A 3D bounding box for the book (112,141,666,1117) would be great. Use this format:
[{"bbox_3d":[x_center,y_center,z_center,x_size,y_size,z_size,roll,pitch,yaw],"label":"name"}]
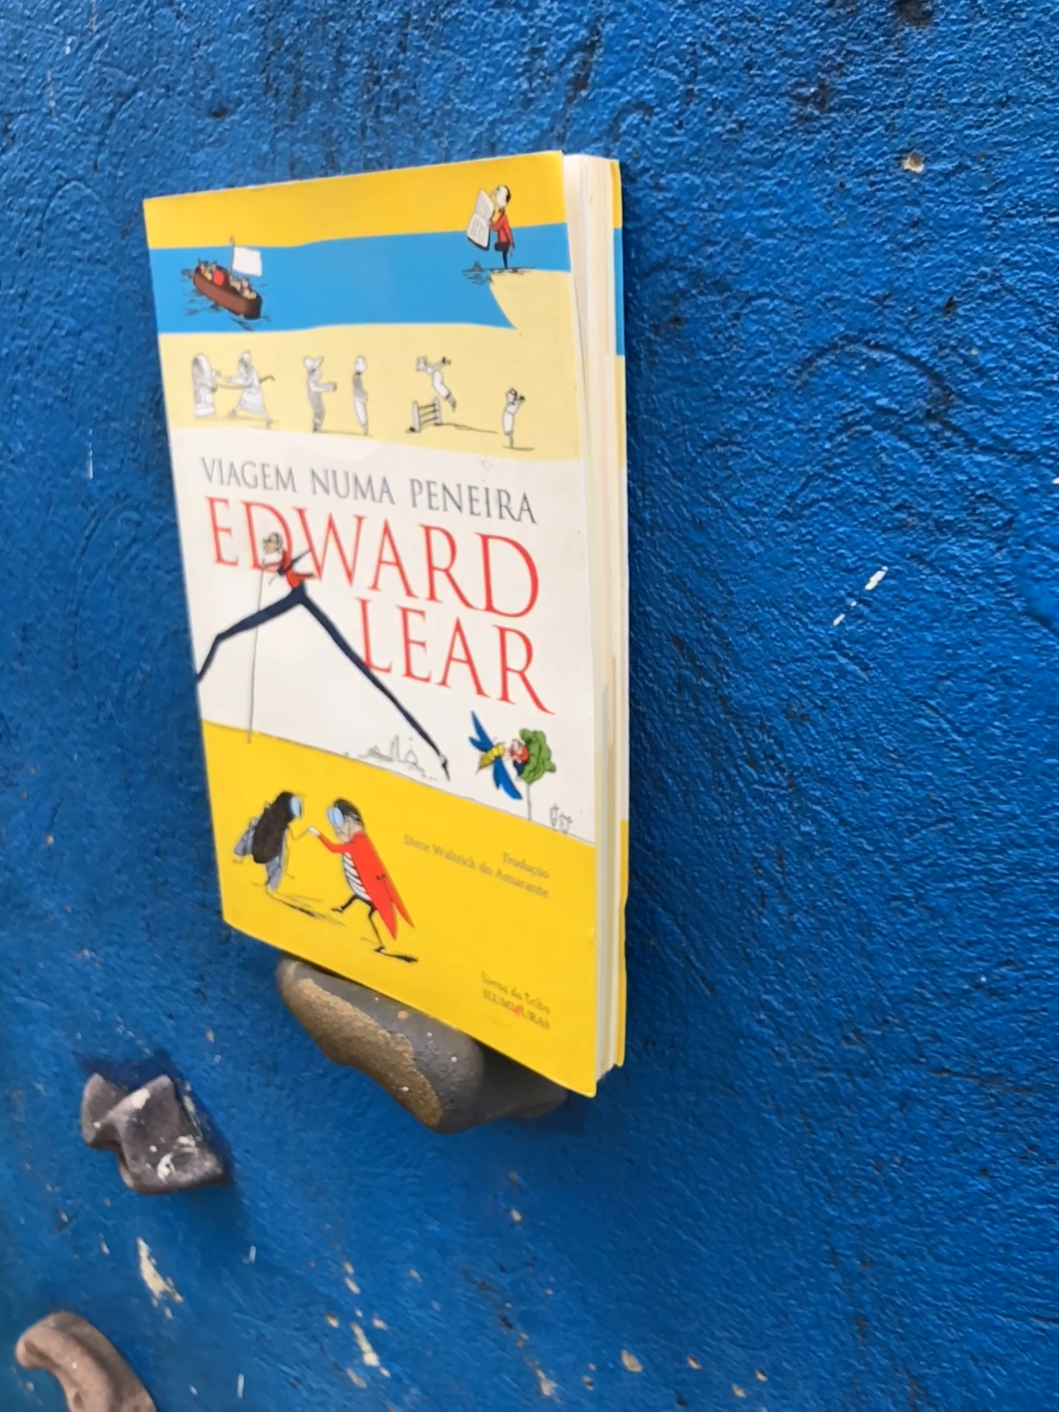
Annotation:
[{"bbox_3d":[-0.038,-0.020,0.310,0.158,0.219,0.022,13,24,36],"label":"book"}]
